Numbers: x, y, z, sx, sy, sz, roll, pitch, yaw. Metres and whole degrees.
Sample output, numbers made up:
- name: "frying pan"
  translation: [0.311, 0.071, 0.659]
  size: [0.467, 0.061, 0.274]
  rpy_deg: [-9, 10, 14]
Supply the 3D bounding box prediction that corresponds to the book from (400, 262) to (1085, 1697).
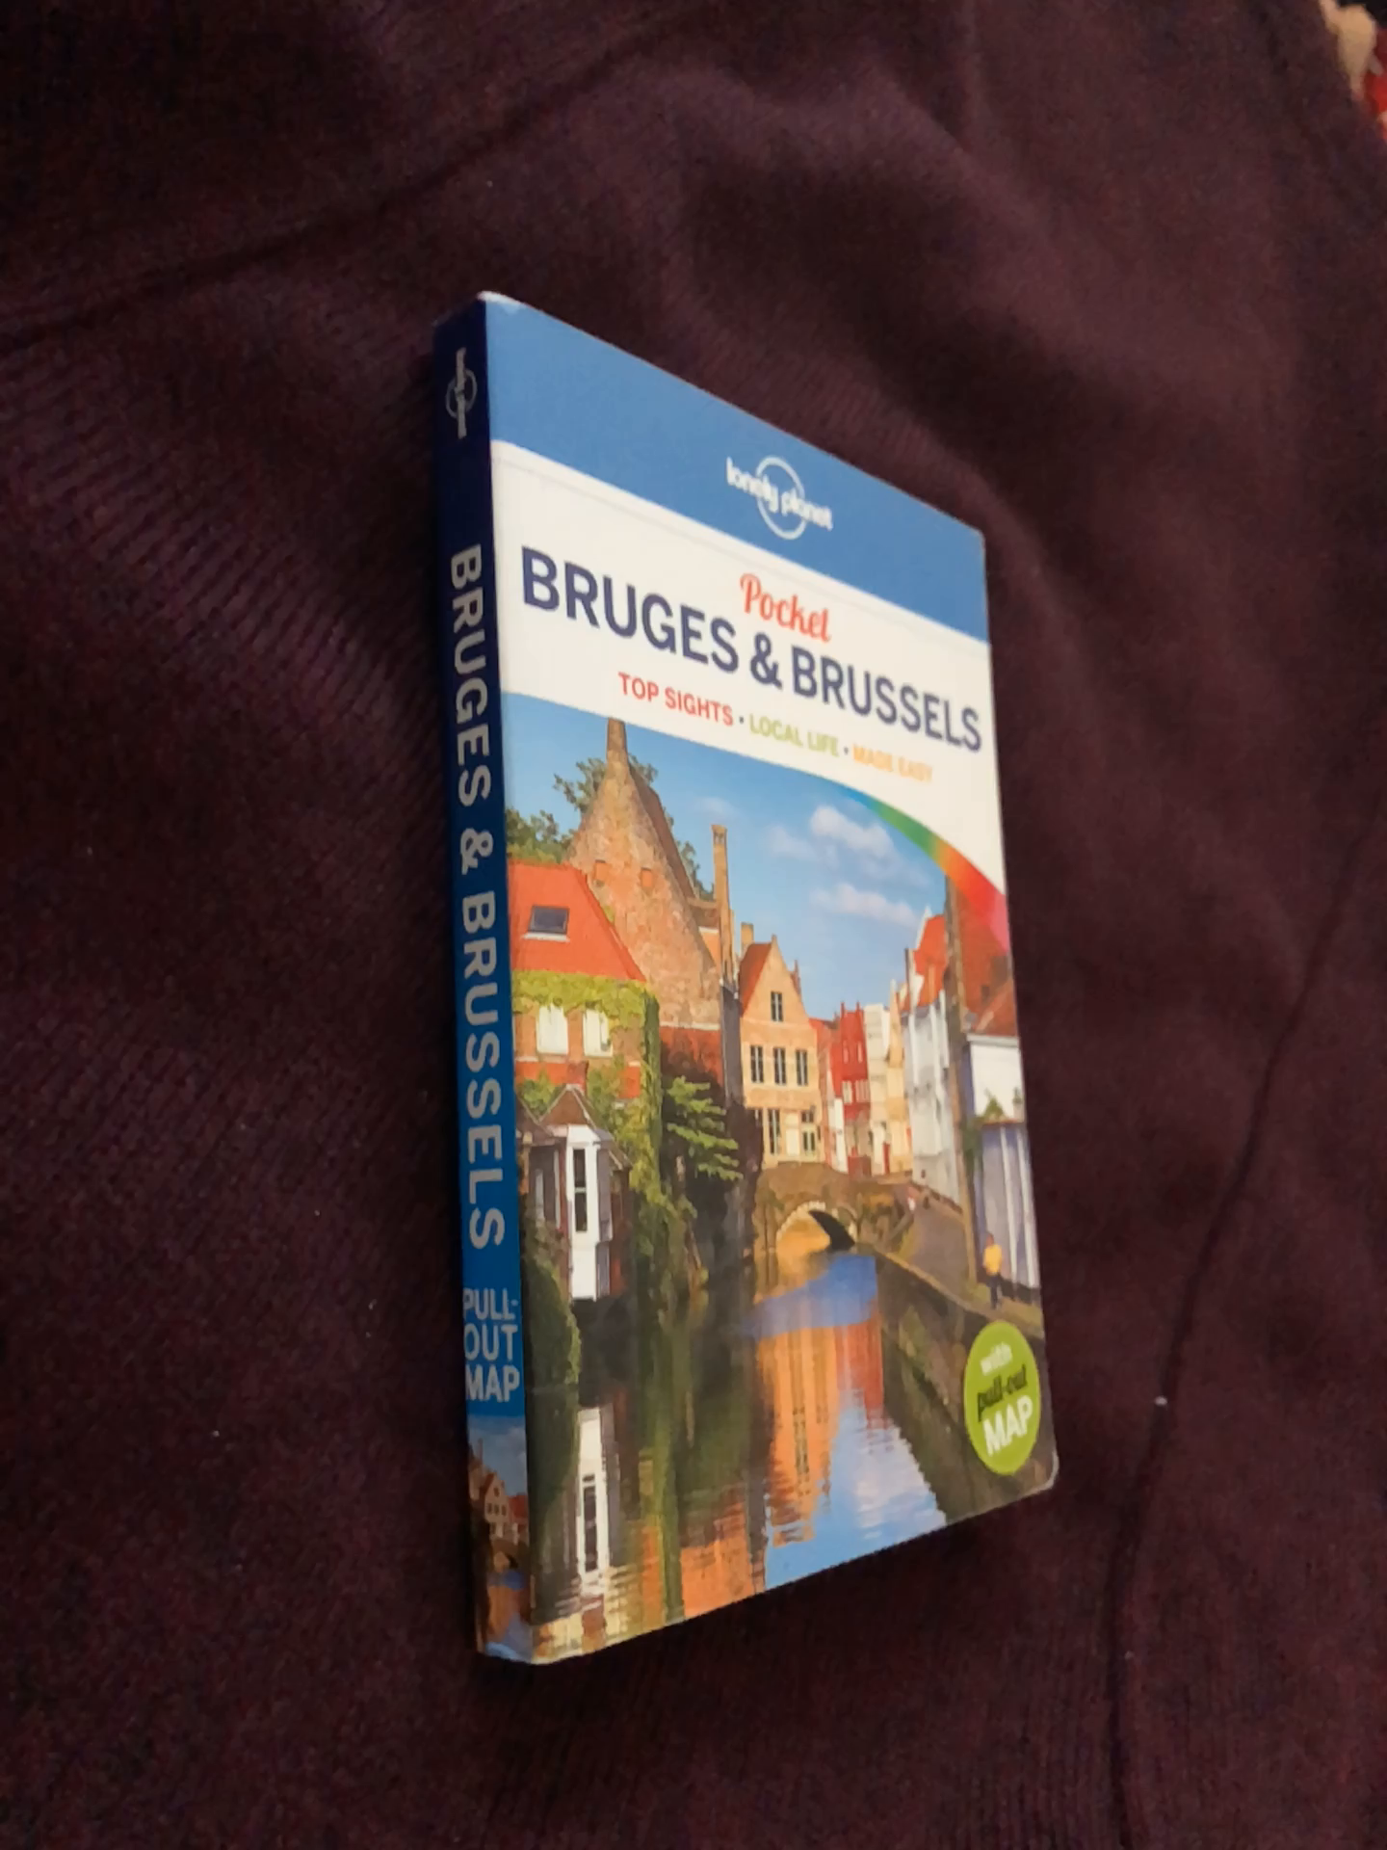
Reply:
- name: "book"
  translation: [0.012, 0.006, 0.216]
  size: [0.111, 0.016, 0.158]
  rpy_deg: [7, 76, -47]
